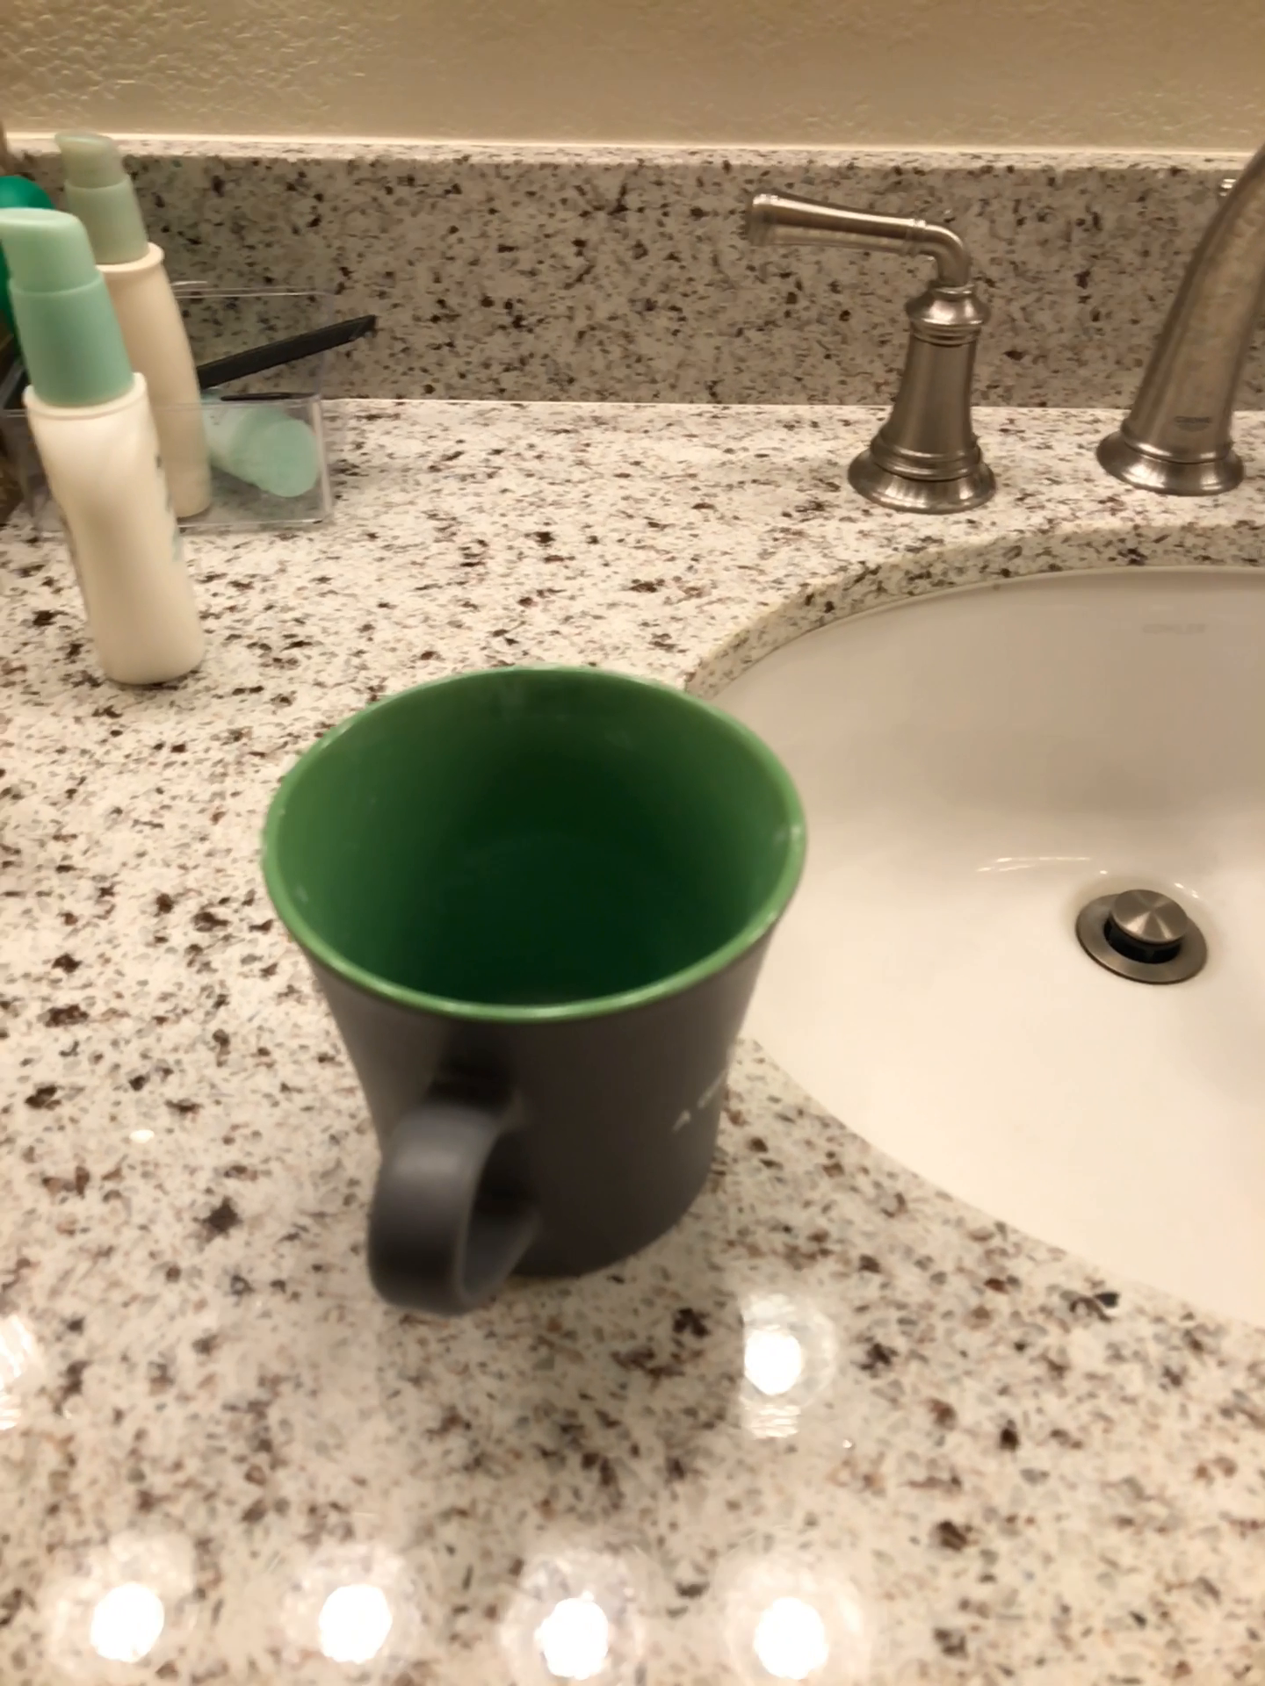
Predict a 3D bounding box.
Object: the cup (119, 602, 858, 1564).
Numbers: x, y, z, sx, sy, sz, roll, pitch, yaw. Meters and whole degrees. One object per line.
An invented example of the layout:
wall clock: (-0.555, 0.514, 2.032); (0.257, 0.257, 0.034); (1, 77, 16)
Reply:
cup: (-0.012, 0.040, 0.272); (0.100, 0.109, 0.141); (5, 42, 5)
